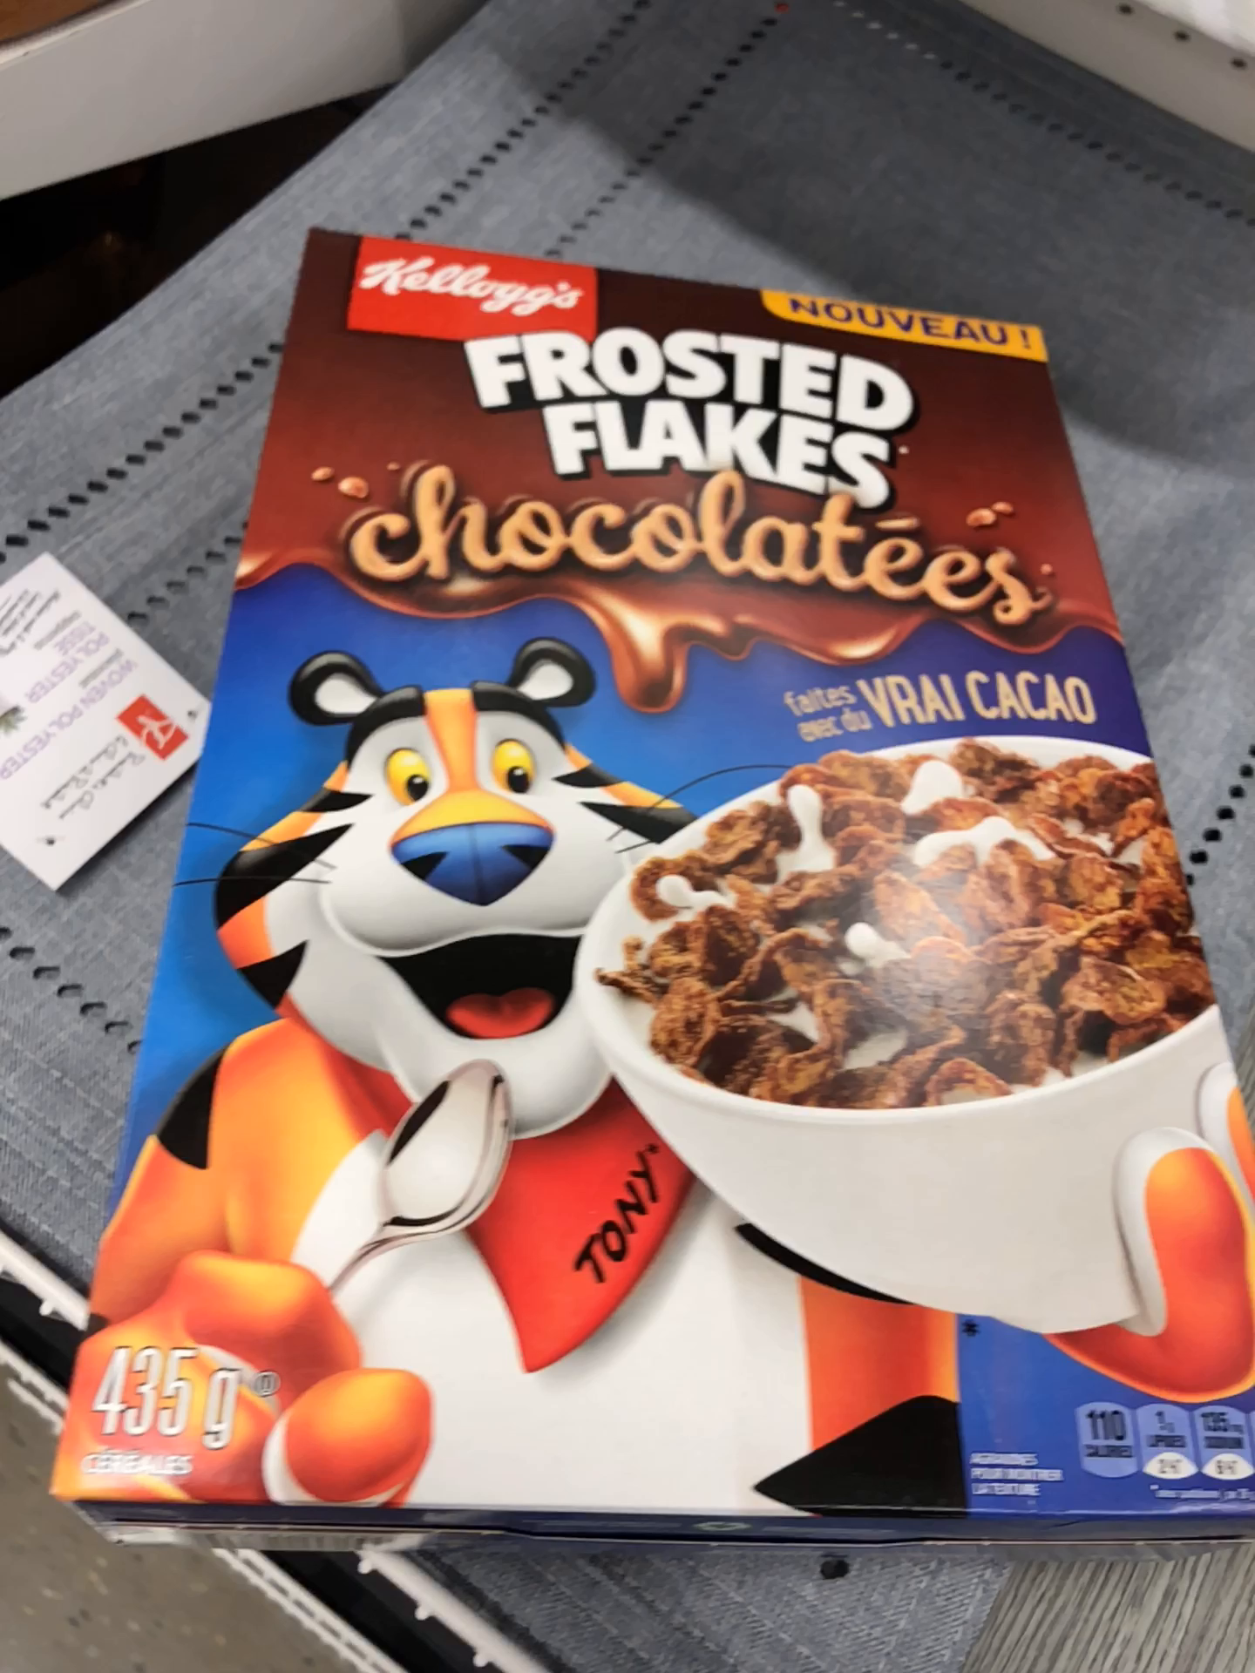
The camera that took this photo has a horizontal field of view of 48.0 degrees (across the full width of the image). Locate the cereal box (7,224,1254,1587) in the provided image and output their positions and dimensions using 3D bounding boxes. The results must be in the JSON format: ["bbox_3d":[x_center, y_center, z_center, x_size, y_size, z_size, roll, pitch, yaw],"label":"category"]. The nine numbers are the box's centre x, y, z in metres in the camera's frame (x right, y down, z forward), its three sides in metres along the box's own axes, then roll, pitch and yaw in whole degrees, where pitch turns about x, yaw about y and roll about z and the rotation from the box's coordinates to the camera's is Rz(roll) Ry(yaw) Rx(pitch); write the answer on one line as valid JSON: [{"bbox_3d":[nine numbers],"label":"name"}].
[{"bbox_3d":[0.010,-0.006,0.327,0.210,0.070,0.311,5,55,-8],"label":"cereal box"}]
